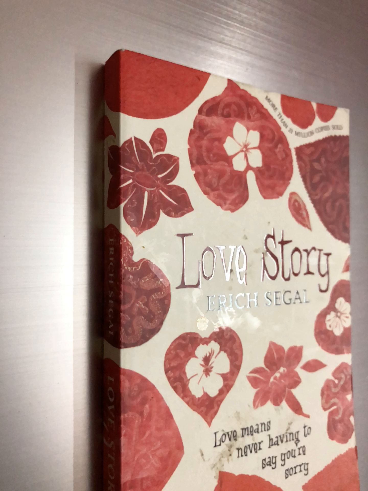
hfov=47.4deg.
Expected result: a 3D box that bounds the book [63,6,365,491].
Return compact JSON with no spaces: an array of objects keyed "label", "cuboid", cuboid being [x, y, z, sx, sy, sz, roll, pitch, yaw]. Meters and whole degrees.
[{"label":"book","cuboid":[0.018,0.022,0.164,0.121,0.030,0.180,0,87,-34]}]
